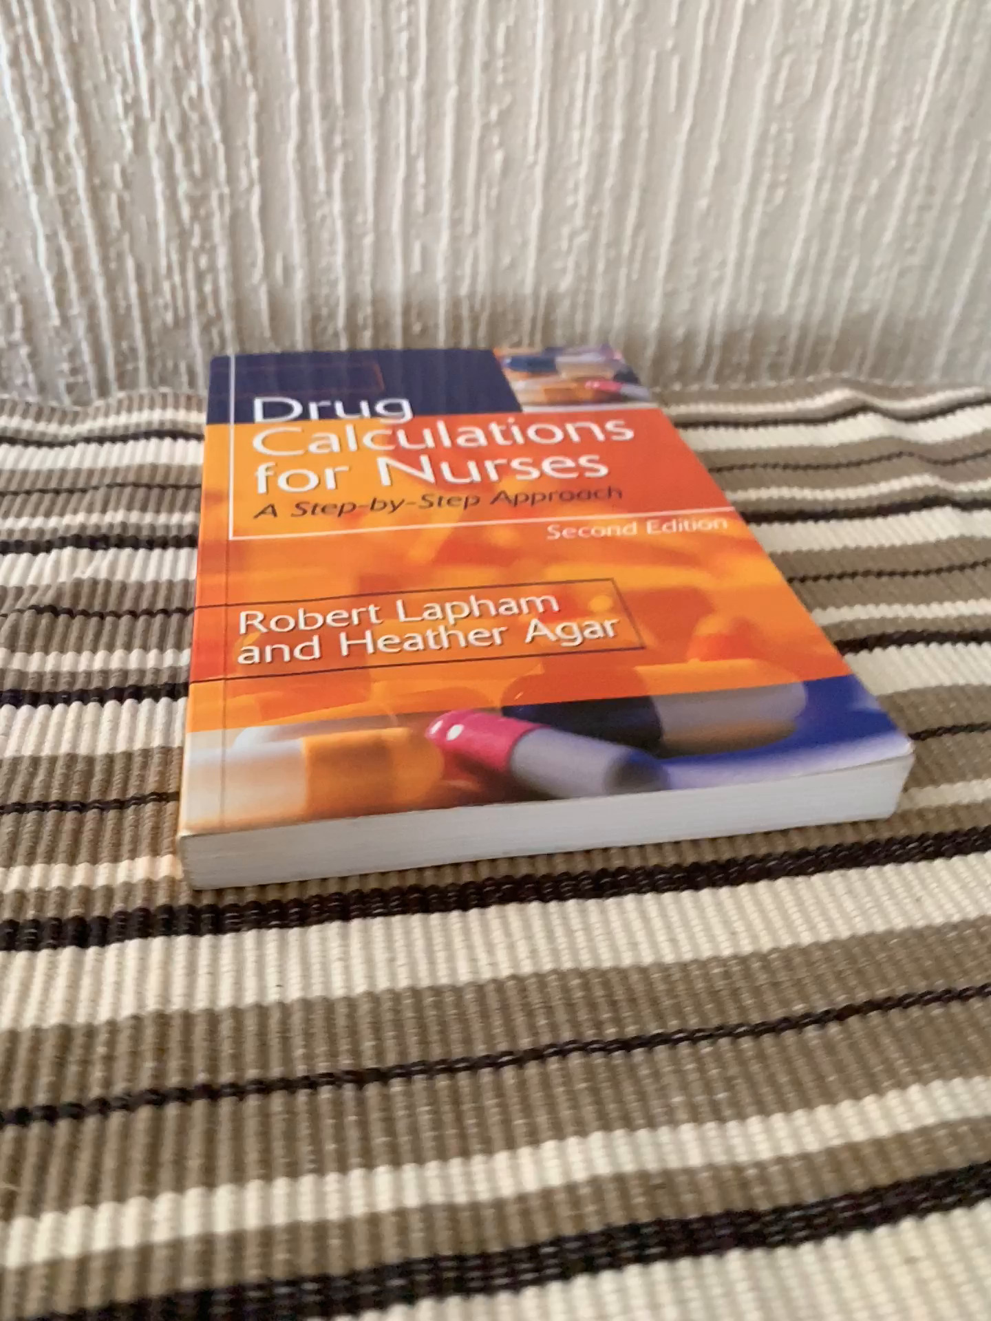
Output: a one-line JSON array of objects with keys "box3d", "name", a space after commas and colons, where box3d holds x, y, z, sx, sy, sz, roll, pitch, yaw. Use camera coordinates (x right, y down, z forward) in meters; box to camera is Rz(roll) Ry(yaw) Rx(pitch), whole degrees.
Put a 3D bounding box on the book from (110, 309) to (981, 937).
[{"box3d": [-0.007, -0.037, 0.253, 0.140, 0.020, 0.222, -4, 38, -11], "name": "book"}]
